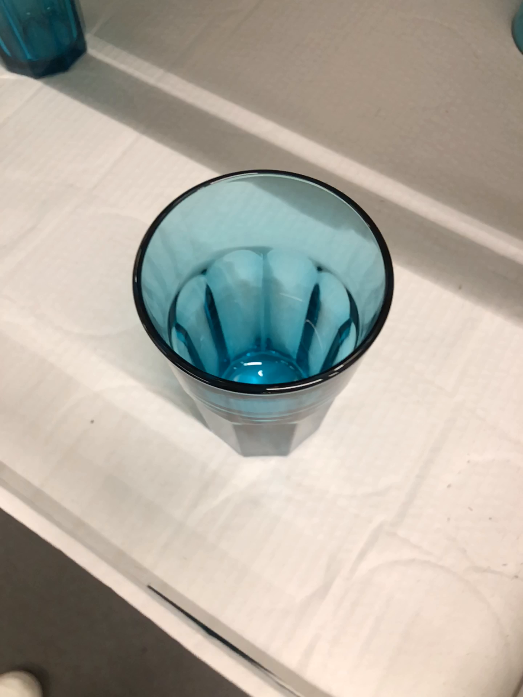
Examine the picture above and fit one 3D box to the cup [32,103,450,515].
[{"bbox_3d":[-0.005,-0.007,0.227,0.089,0.102,0.092,0,69,1],"label":"cup"}]
